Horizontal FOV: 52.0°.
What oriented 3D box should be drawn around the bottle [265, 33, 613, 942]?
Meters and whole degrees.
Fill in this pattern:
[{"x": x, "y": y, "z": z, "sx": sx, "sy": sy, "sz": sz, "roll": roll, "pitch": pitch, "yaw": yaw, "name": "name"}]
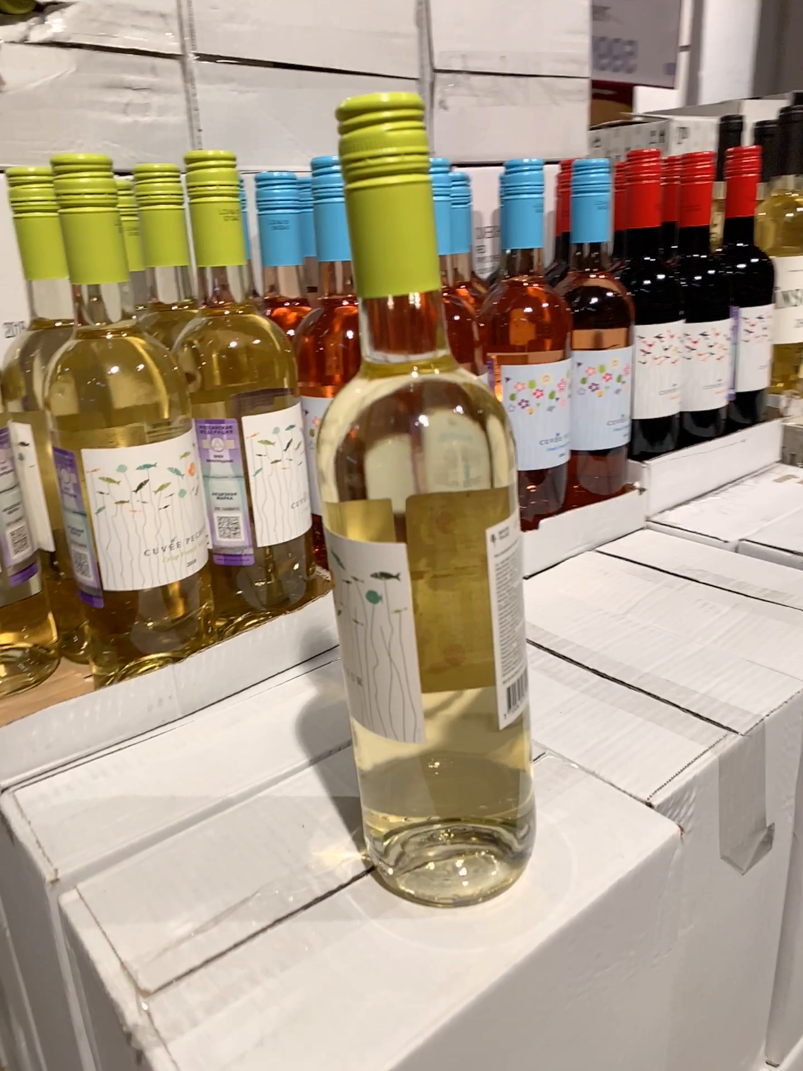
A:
[{"x": 0.014, "y": -0.007, "z": 0.310, "sx": 0.090, "sy": 0.299, "sz": 0.090, "roll": -3, "pitch": 20, "yaw": 1, "name": "bottle"}]
